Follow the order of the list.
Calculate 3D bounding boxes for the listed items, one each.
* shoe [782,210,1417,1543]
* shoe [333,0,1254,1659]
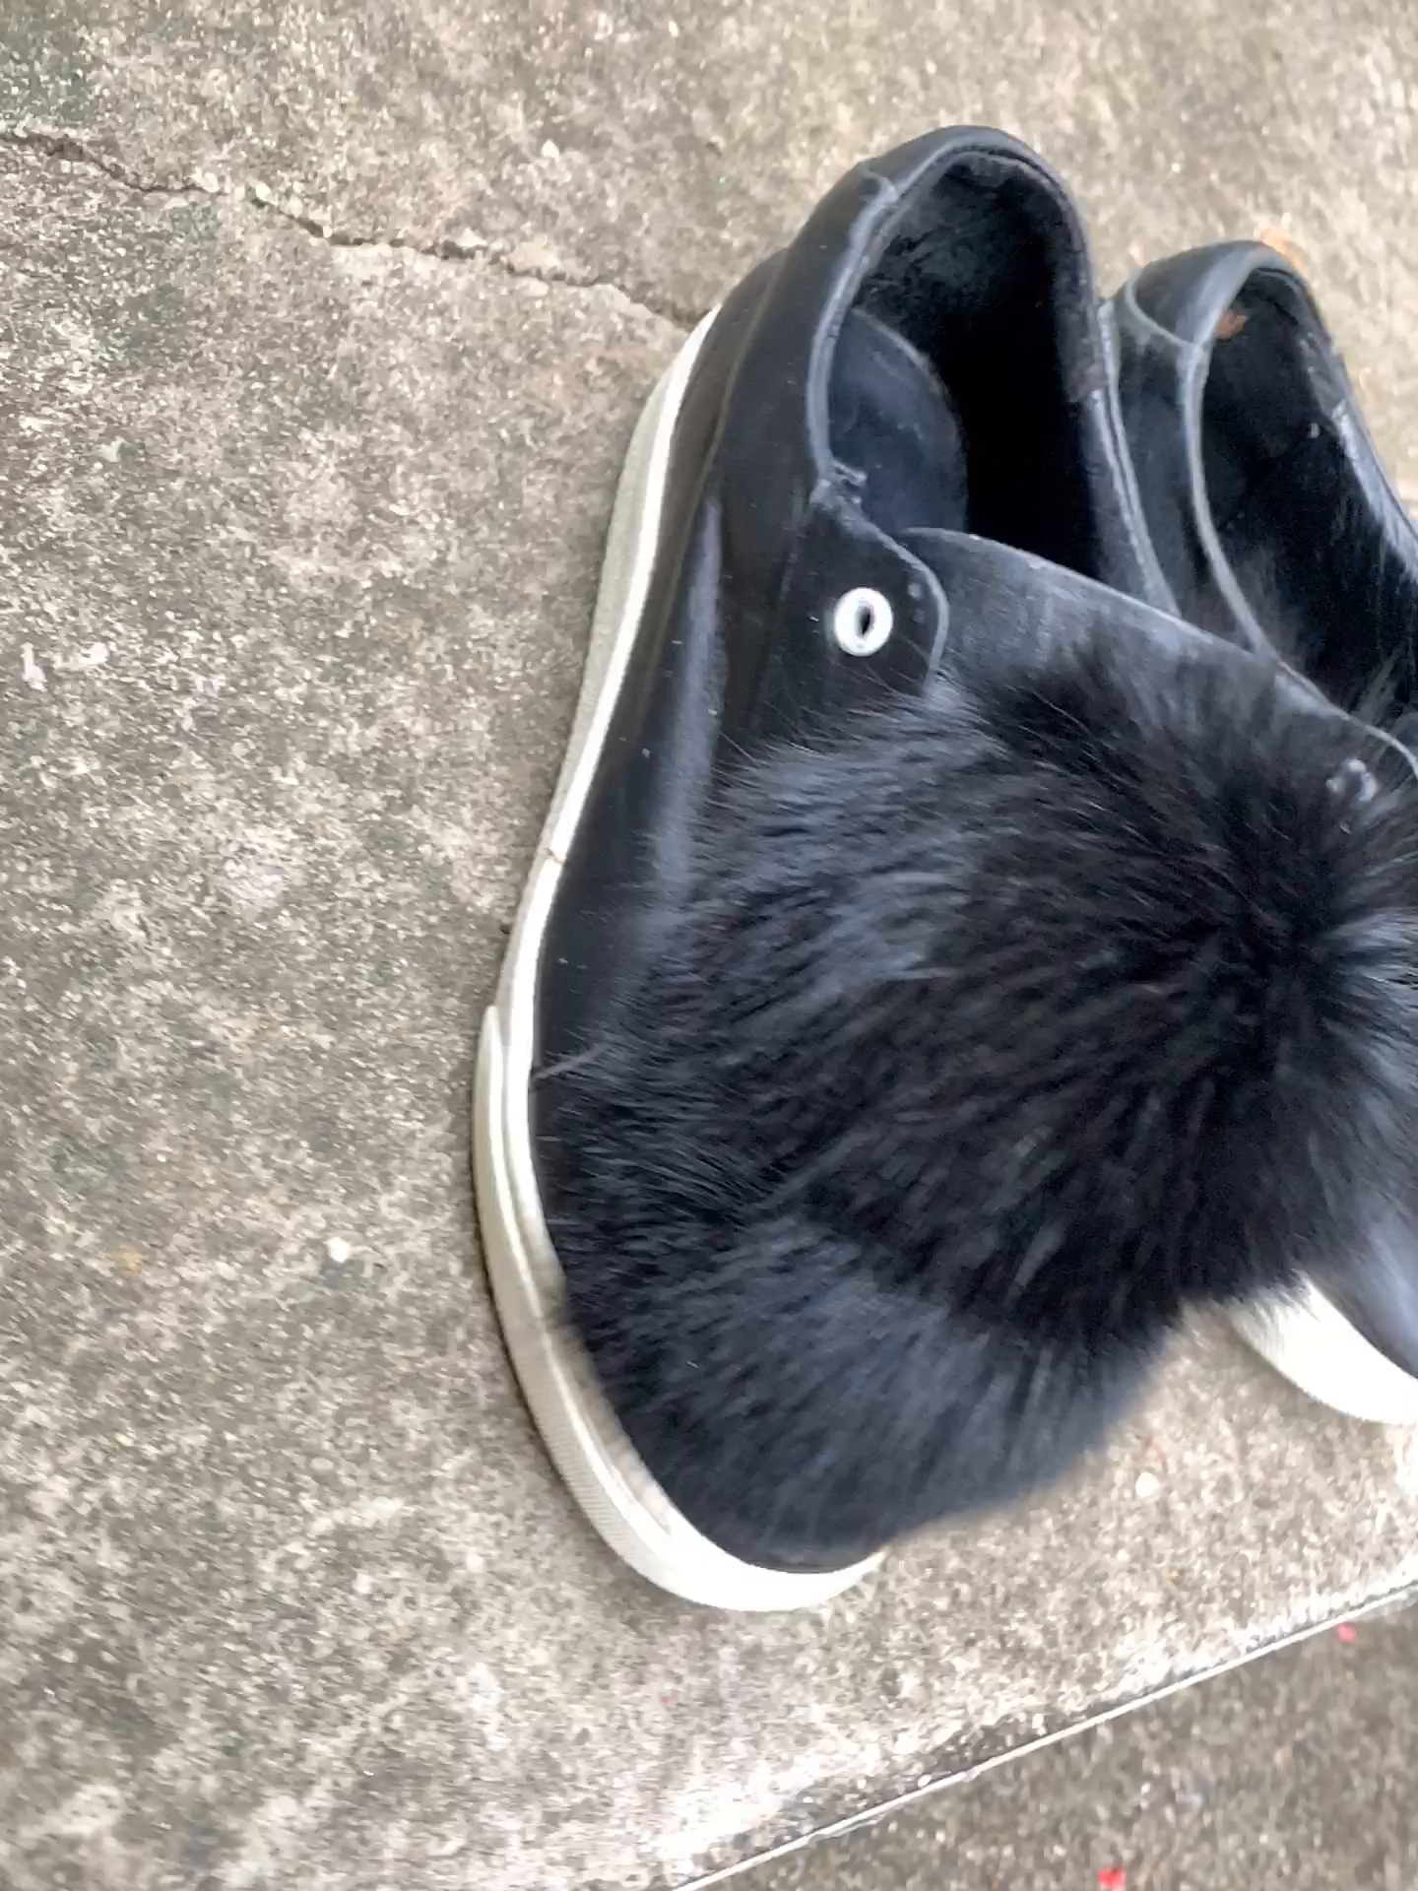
[{"bbox_3d":[0.128,-0.015,0.313,0.098,0.097,0.243,-21,85,-35],"label":"shoe"},{"bbox_3d":[0.013,-0.028,0.260,0.095,0.097,0.269,14,66,-27],"label":"shoe"}]
